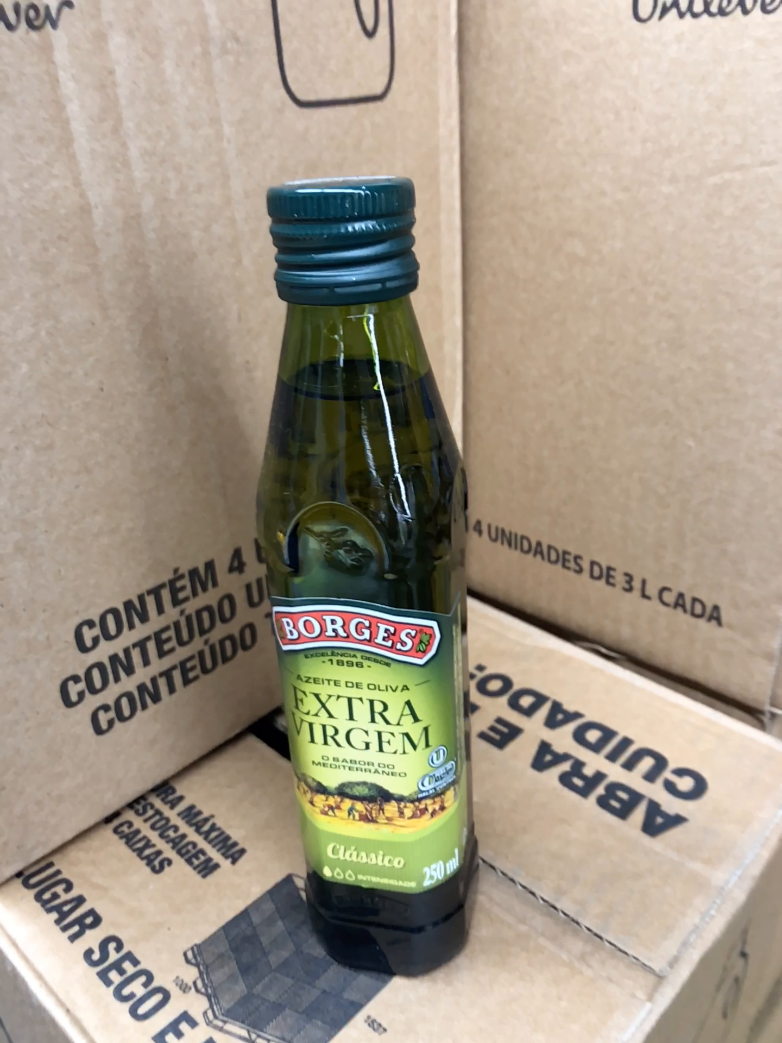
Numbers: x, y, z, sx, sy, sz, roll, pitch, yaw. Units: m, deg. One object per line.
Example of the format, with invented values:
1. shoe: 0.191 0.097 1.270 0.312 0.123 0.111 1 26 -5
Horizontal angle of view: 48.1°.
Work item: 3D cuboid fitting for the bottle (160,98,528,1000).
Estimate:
1. bottle: -0.002 0.017 0.220 0.060 0.219 0.060 -1 27 1
